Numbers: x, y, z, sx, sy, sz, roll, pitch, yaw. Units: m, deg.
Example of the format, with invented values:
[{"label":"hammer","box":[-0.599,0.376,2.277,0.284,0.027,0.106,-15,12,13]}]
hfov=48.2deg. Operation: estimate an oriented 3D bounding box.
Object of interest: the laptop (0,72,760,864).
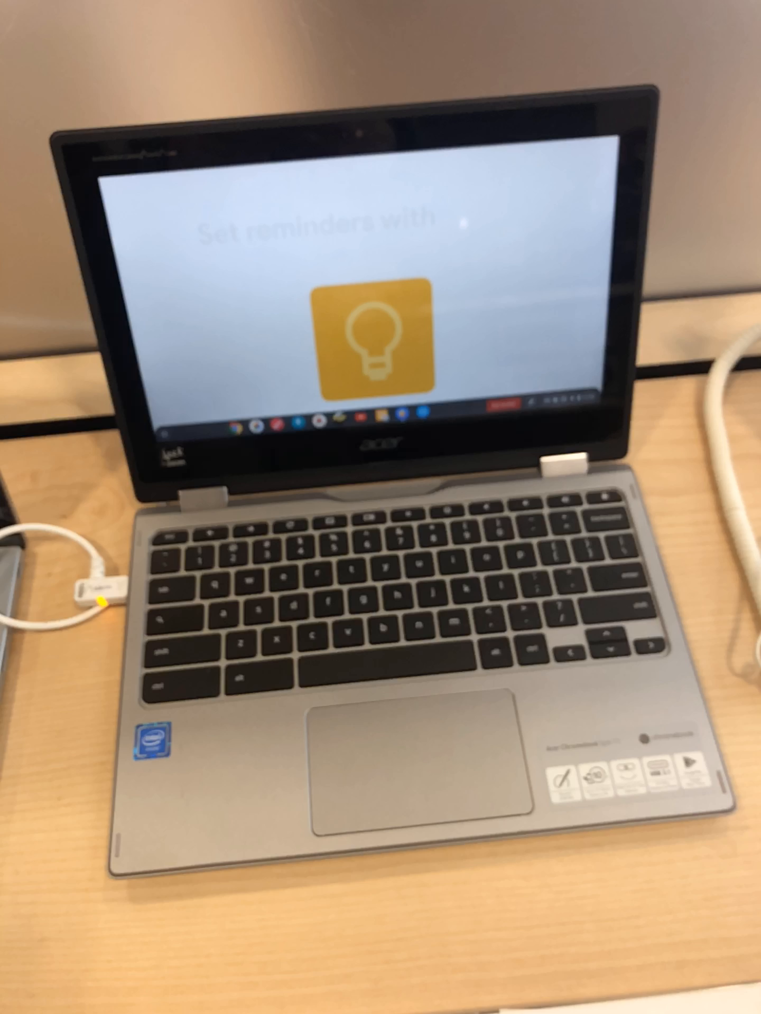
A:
[{"label":"laptop","box":[0.006,-0.023,0.398,0.287,0.176,0.296,-6,57,-2]}]
